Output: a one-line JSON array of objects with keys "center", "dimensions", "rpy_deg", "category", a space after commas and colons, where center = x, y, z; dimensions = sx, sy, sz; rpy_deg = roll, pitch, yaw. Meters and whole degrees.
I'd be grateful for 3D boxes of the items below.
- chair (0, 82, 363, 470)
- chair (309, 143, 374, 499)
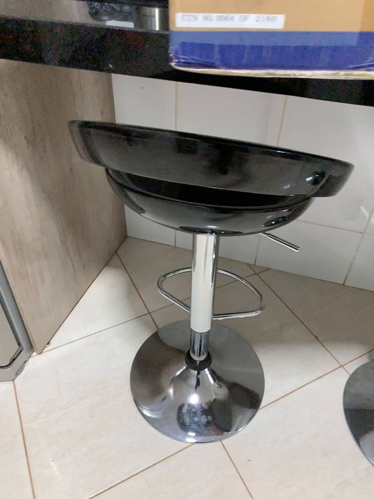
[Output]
[{"center": [0.022, 0.064, 0.997], "dimensions": [0.570, 0.753, 0.515], "rpy_deg": [12, 40, 11], "category": "chair"}, {"center": [0.587, 0.207, 0.771], "dimensions": [0.510, 0.634, 0.414], "rpy_deg": [12, 40, 12], "category": "chair"}]
